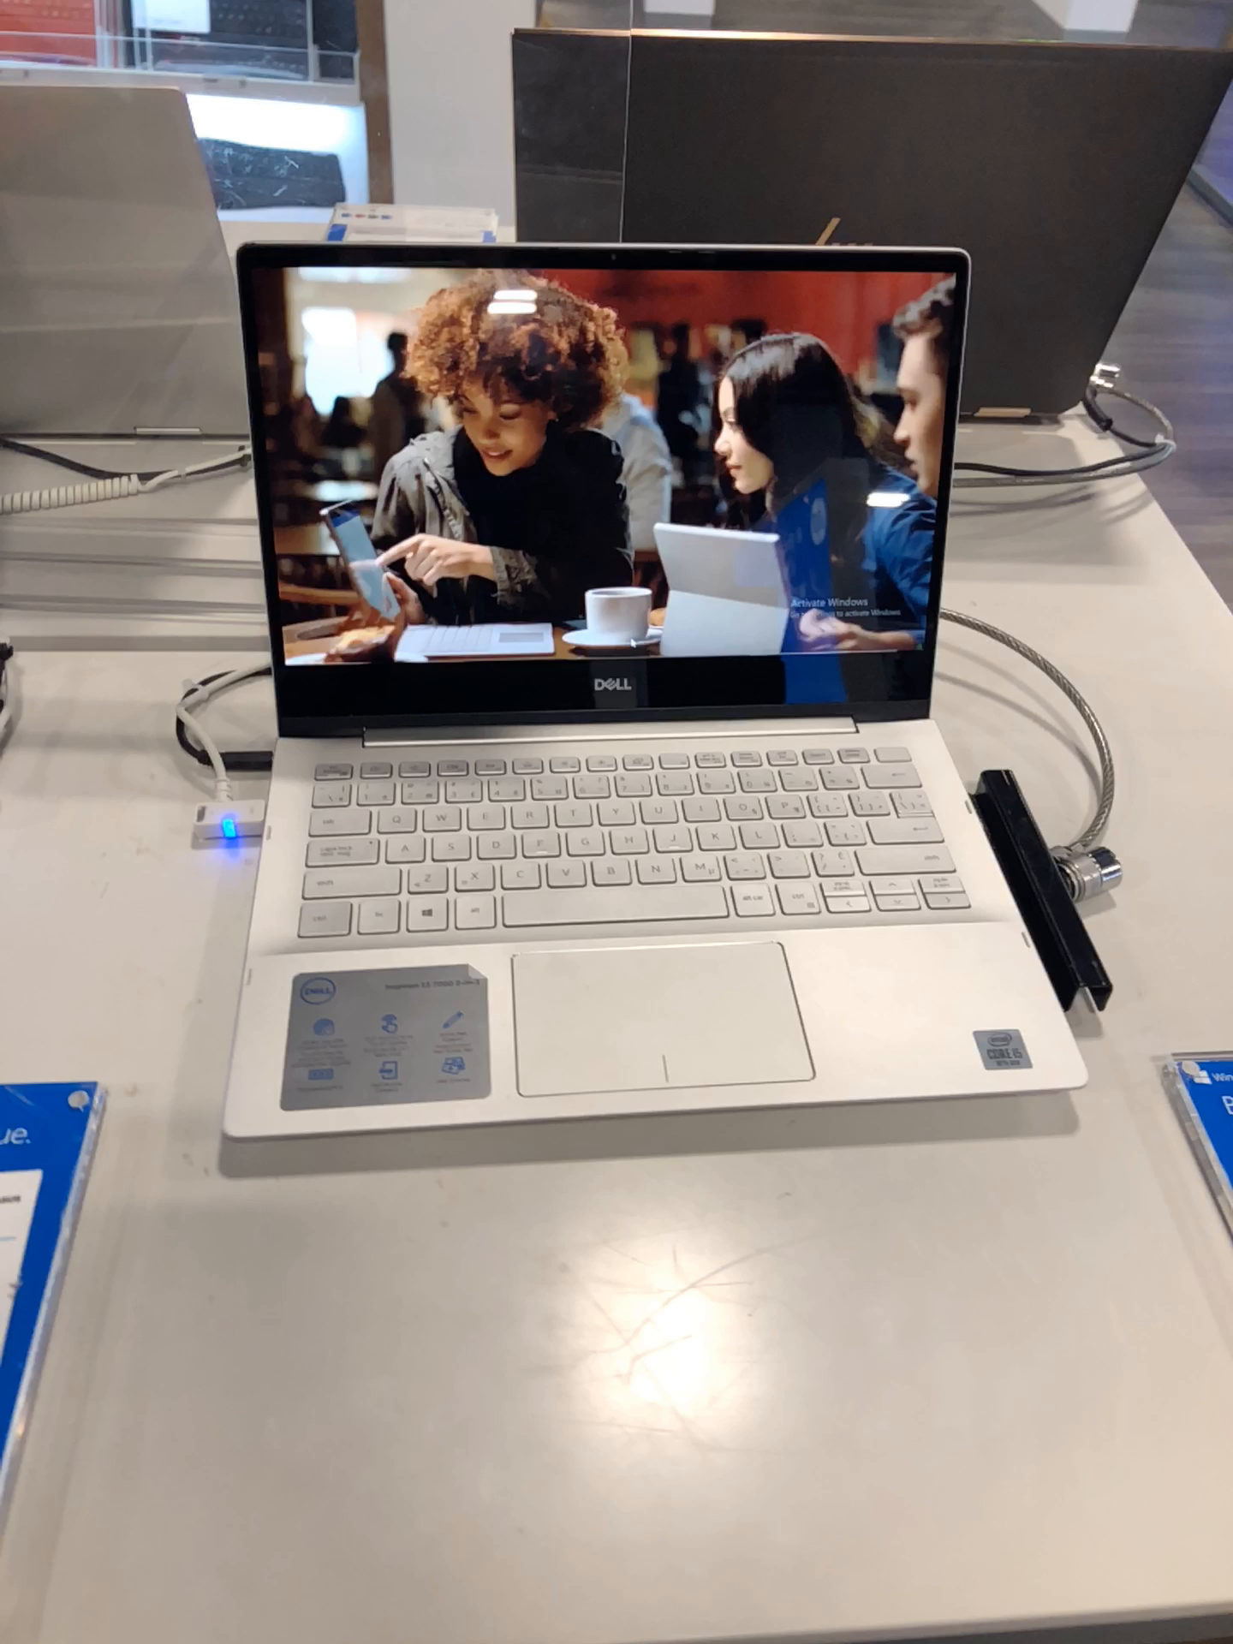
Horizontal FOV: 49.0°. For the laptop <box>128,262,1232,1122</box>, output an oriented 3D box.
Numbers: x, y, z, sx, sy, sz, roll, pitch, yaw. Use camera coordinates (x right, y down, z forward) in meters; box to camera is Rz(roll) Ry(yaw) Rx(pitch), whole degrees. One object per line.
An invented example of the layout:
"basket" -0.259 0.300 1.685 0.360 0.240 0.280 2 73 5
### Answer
"laptop" 0.011 -0.060 0.488 0.285 0.186 0.265 -2 42 -6
